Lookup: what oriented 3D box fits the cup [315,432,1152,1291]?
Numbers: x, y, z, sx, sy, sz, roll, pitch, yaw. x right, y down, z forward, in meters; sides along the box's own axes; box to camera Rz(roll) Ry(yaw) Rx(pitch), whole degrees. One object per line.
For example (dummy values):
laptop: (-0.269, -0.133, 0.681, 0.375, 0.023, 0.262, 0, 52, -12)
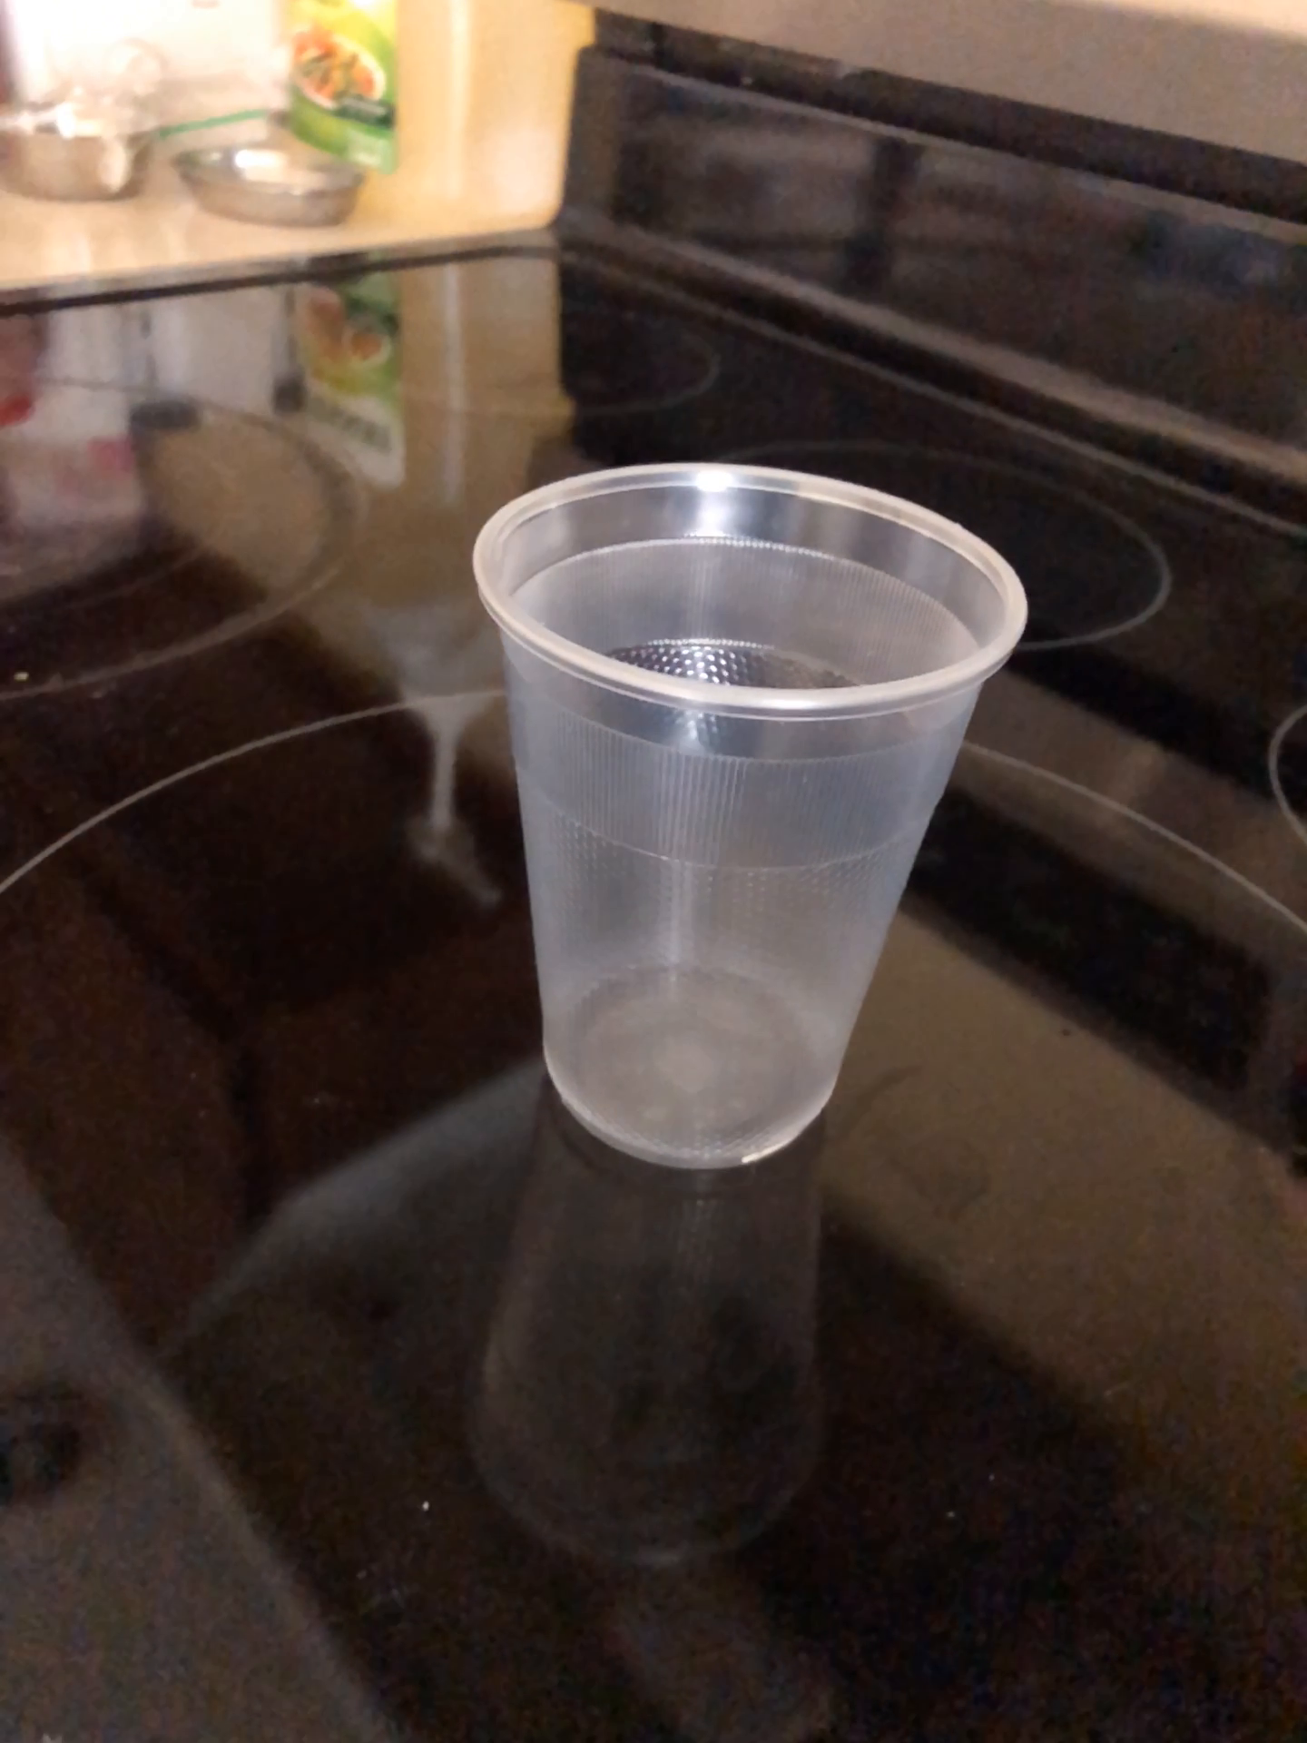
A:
cup: (0.006, -0.008, 0.218, 0.081, 0.081, 0.079, 4, 34, -2)
